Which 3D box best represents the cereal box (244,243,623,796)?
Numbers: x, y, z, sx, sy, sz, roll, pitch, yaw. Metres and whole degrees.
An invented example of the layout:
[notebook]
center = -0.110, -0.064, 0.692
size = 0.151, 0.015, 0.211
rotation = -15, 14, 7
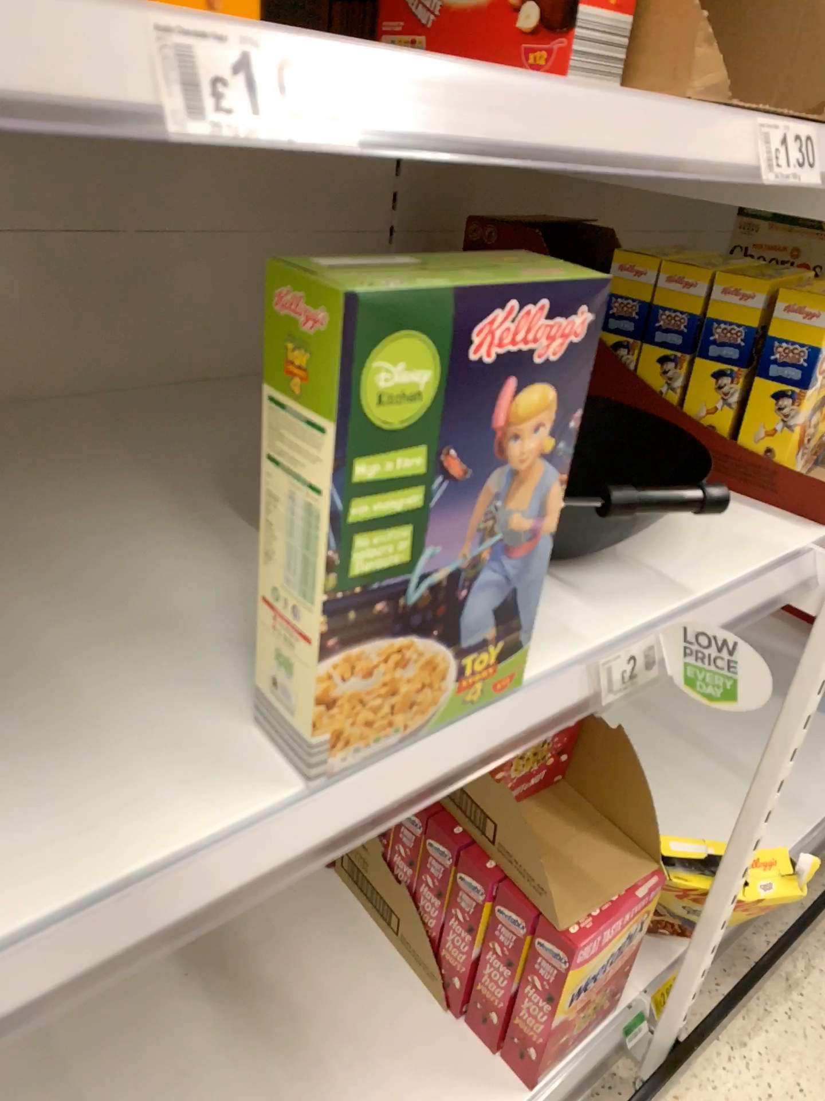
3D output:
[cereal box]
center = 0.005, -0.024, 0.510
size = 0.191, 0.297, 0.080
rotation = -16, 35, -38
